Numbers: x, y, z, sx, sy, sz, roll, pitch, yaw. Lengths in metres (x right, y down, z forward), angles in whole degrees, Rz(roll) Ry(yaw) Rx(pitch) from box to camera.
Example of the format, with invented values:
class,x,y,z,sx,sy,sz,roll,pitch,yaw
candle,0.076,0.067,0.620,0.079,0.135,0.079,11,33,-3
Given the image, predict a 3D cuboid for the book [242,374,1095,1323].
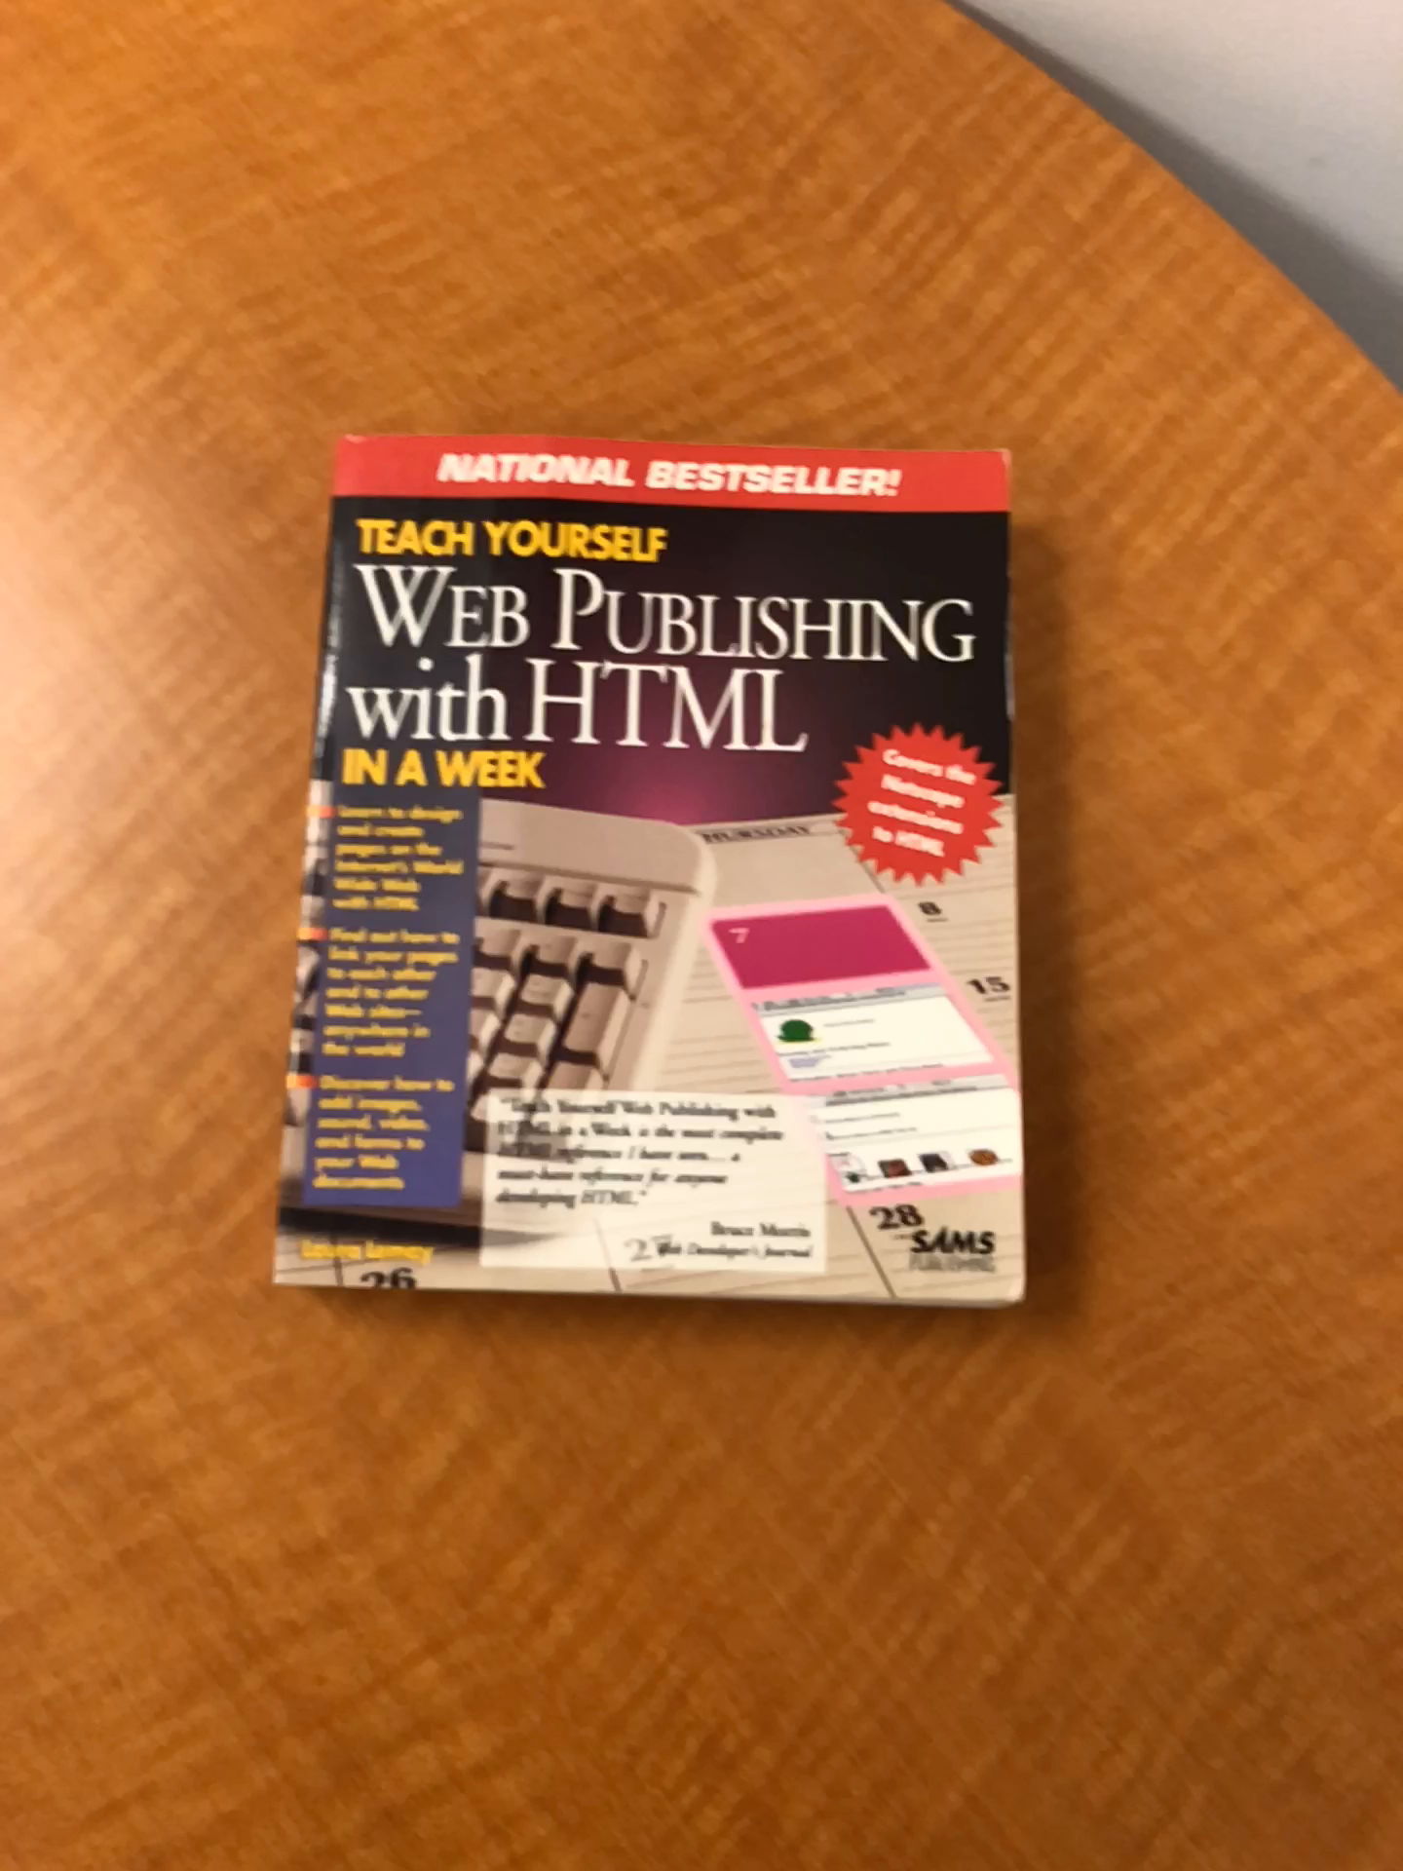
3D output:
class,x,y,z,sx,sy,sz,roll,pitch,yaw
book,-0.005,-0.026,0.429,0.210,0.040,0.250,2,78,-2
